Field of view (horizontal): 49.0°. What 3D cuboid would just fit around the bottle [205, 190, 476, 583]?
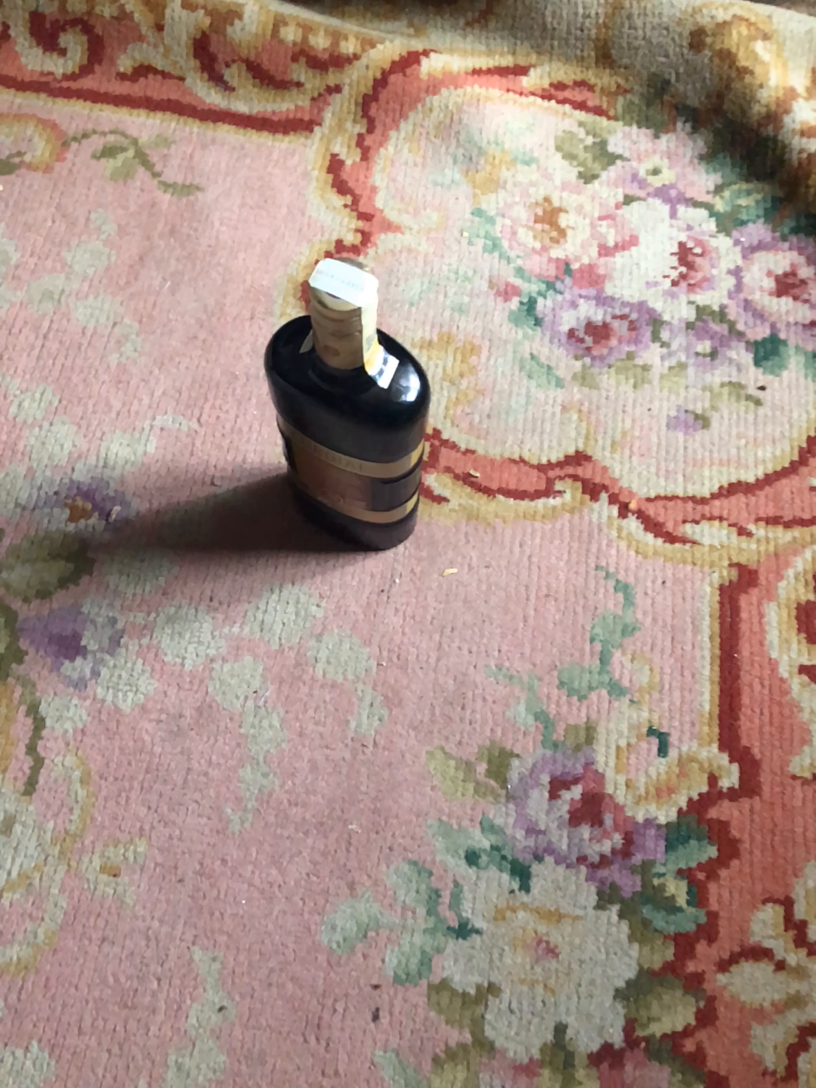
[{"bbox_3d":[-0.033,-0.064,0.480,0.100,0.239,0.050,28,69,9],"label":"bottle"}]
